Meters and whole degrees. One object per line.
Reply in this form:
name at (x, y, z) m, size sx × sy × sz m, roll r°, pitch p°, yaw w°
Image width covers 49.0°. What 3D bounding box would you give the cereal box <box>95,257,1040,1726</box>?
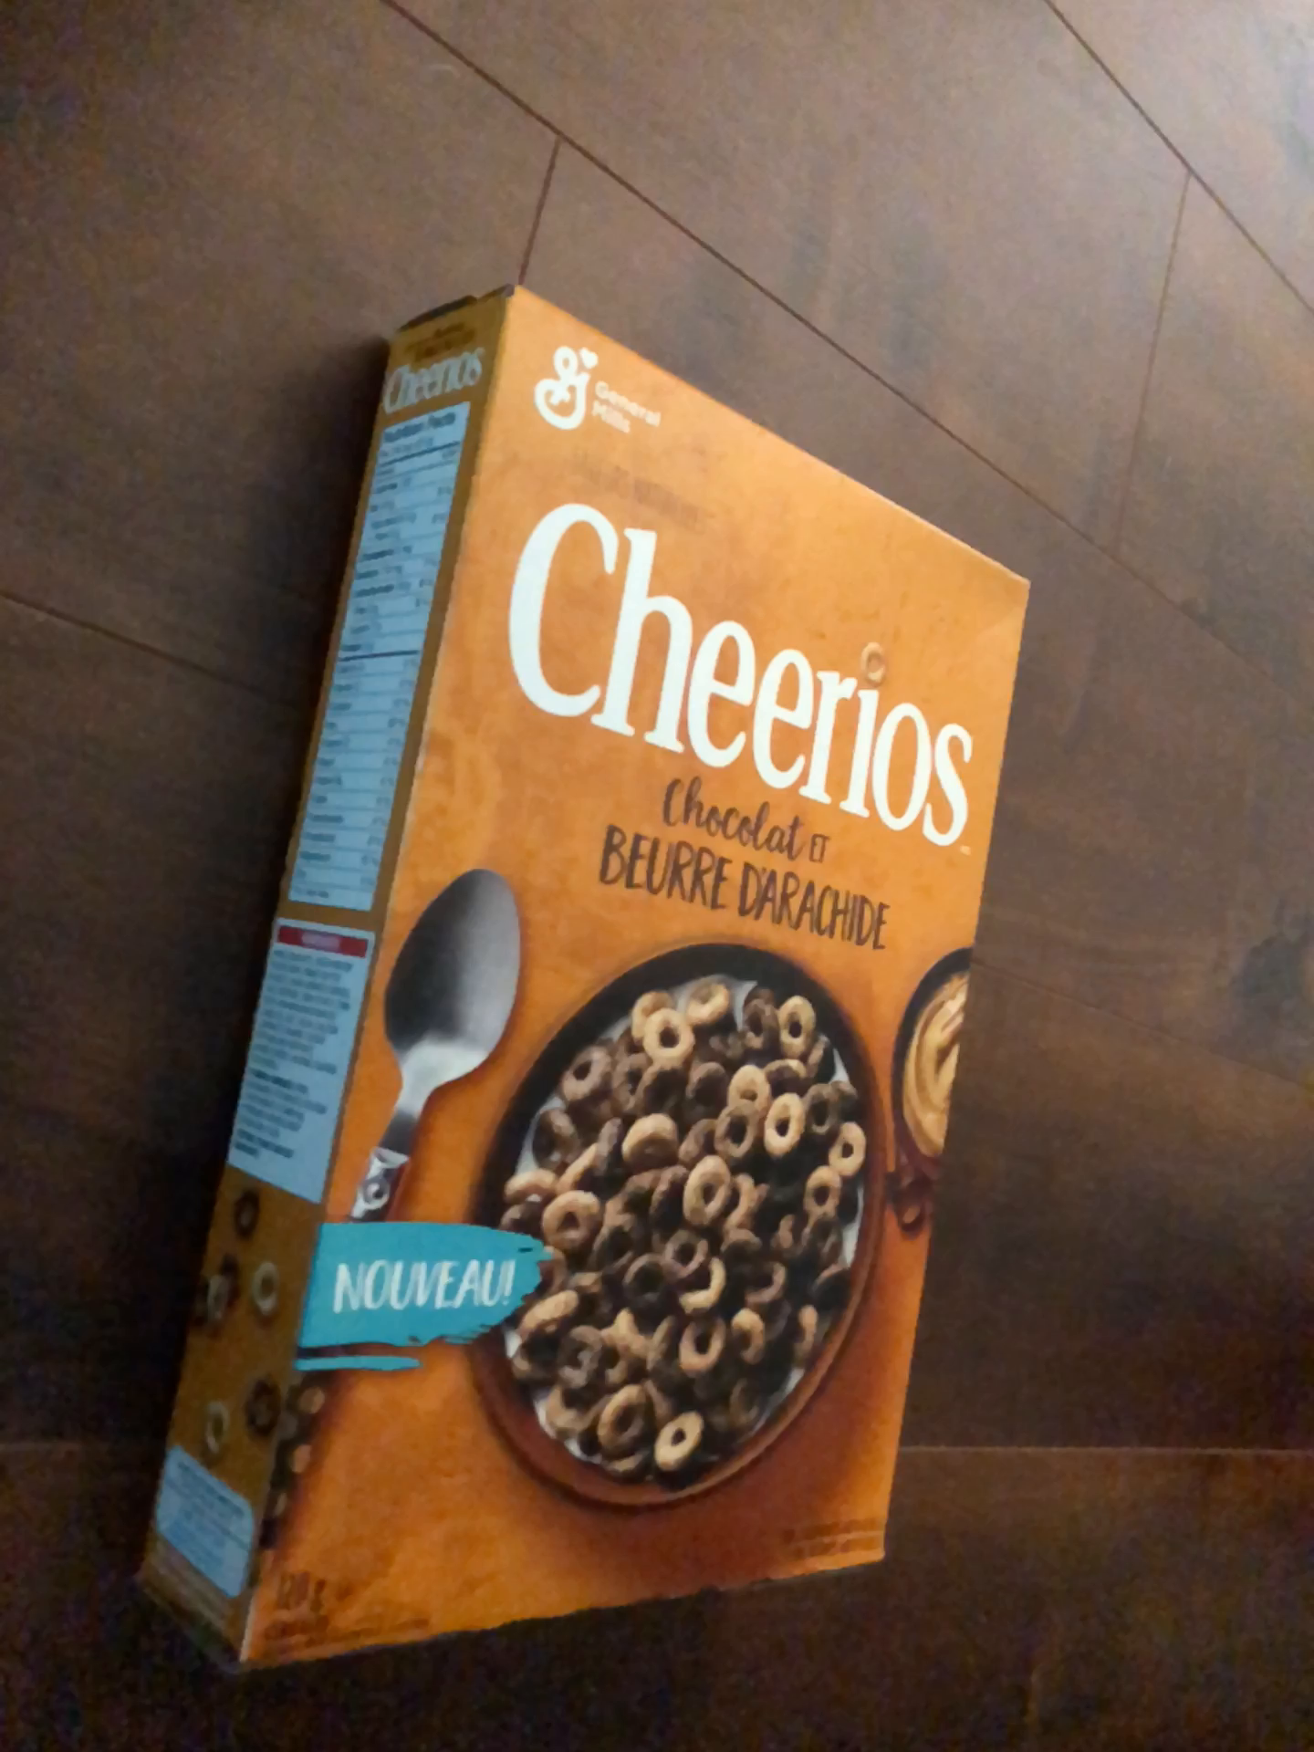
cereal box at (-0.005, 0.034, 0.378) m, size 0.201 × 0.060 × 0.300 m, roll 15°, pitch 84°, yaw -41°
